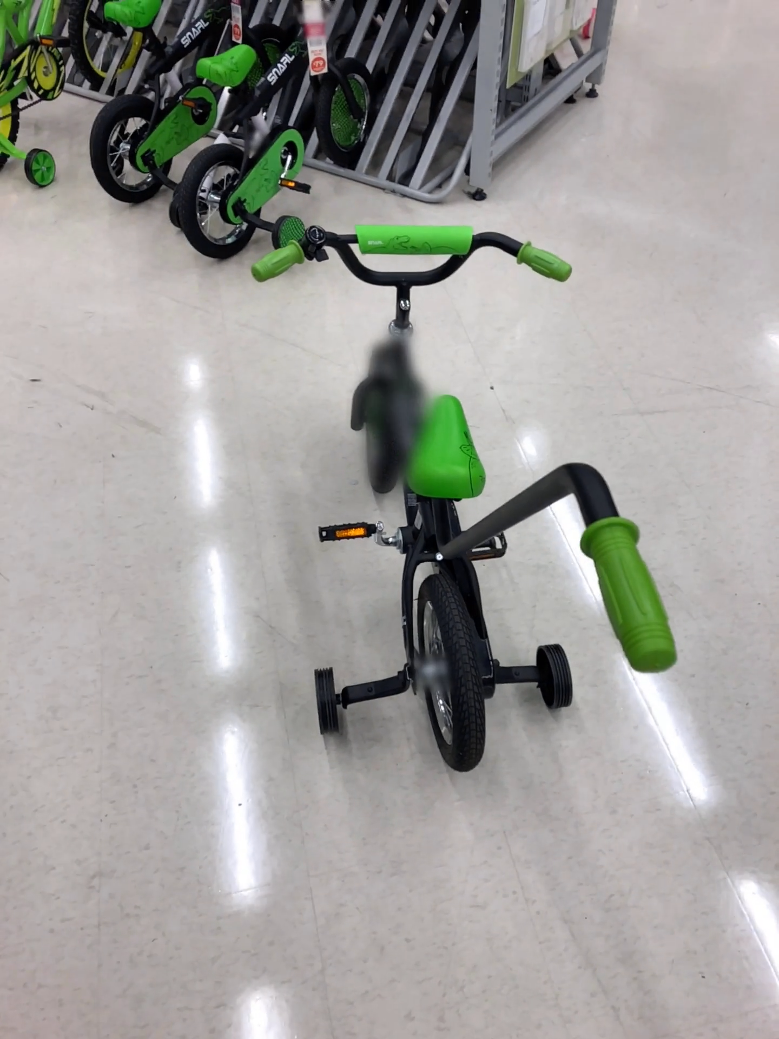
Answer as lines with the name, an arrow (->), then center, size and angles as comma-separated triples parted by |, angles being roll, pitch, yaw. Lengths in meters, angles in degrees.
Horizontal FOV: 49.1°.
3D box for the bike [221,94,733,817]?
bike -> 0.048, -0.124, 1.331 | 0.490, 0.600, 0.850 | -7, 51, -6
